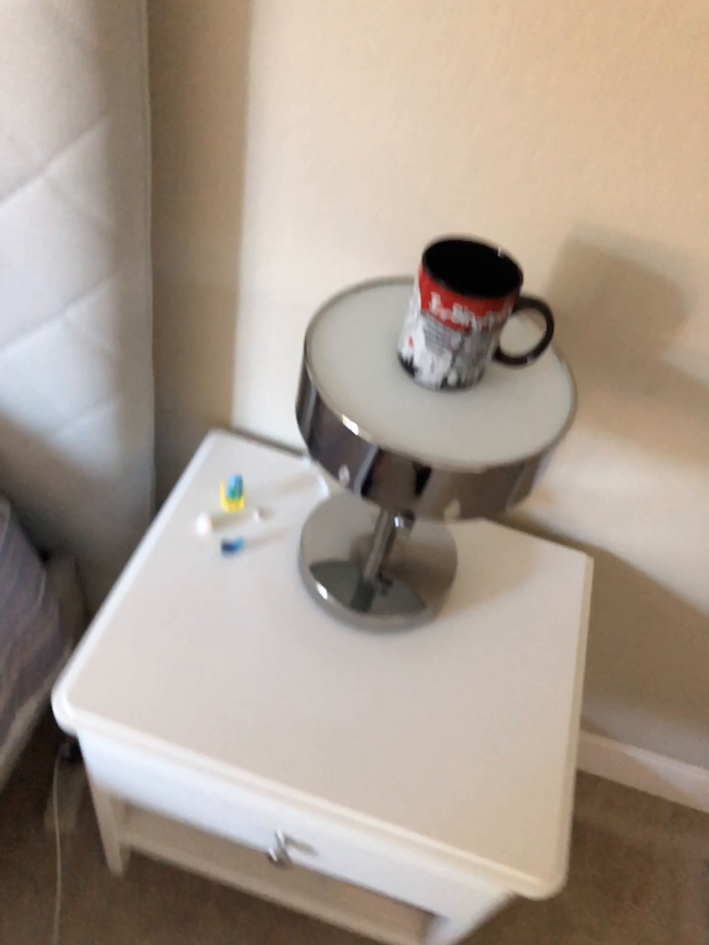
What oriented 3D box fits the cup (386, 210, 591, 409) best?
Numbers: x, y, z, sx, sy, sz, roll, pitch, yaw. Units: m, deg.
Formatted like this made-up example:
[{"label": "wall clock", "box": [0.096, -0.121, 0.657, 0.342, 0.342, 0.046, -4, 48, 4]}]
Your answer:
[{"label": "cup", "box": [0.101, -0.128, 0.630, 0.130, 0.100, 0.090, 10, 48, -5]}]
